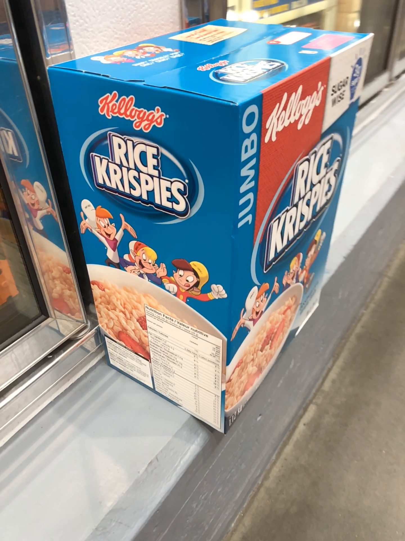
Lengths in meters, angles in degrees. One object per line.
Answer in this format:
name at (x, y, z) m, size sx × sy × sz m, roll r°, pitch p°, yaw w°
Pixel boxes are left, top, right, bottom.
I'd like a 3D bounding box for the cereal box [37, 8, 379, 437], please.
cereal box at (0.019, -0.056, 0.445) m, size 0.160 × 0.319 × 0.241 m, roll 23°, pitch 43°, yaw 26°
